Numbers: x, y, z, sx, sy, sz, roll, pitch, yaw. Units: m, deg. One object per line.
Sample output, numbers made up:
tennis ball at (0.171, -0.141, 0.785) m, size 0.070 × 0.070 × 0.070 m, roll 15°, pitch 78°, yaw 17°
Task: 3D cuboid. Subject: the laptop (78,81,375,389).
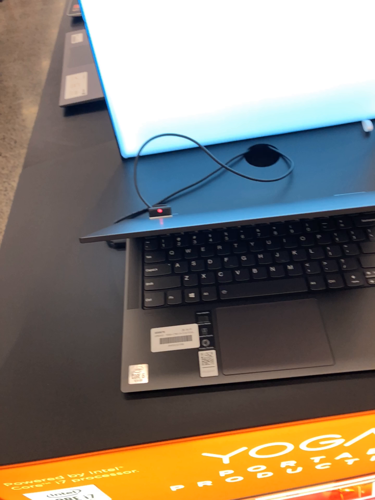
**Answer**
laptop at (0.083, -0.015, 0.393) m, size 0.319 × 0.144 × 0.210 m, roll -6°, pitch 51°, yaw 3°
